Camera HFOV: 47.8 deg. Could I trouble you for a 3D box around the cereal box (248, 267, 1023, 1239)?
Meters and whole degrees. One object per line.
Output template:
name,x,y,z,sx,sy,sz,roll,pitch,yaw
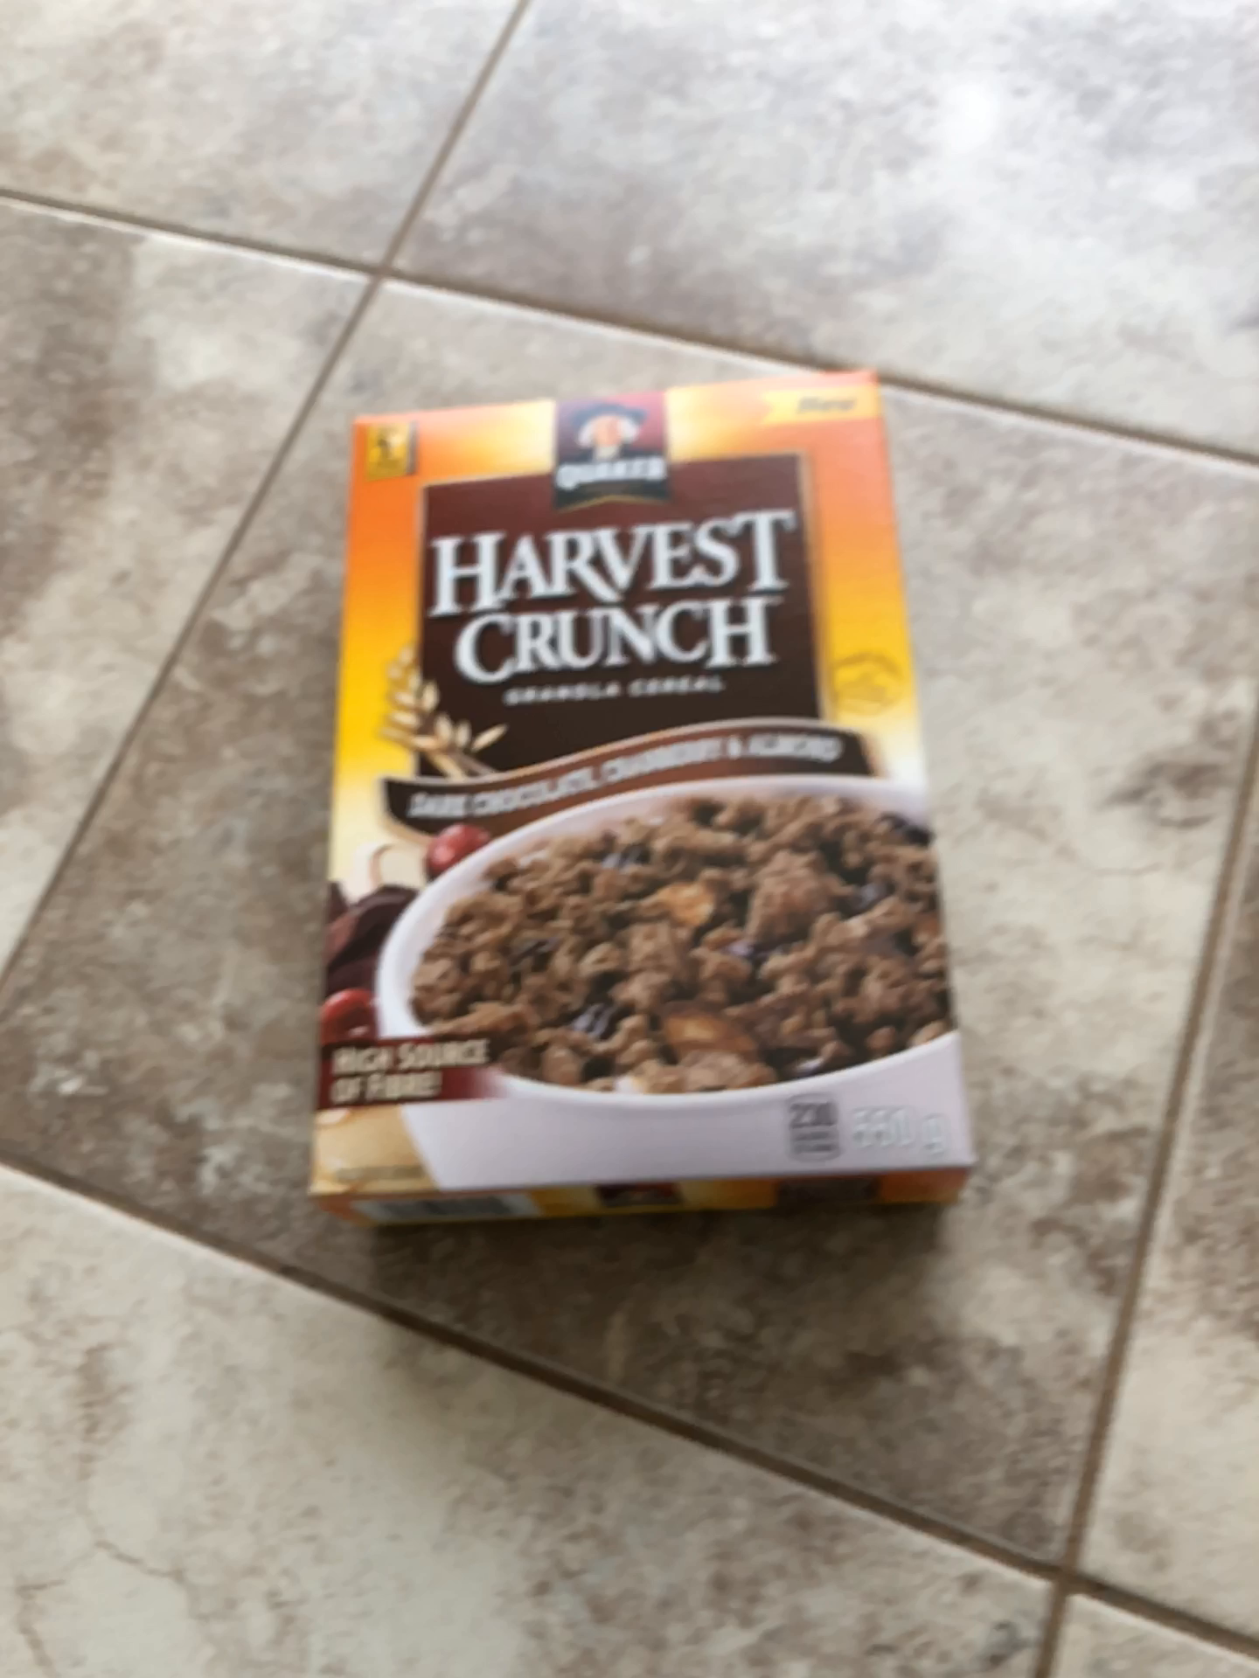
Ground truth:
cereal box,-0.001,-0.027,0.390,0.170,0.070,0.250,-4,67,5
